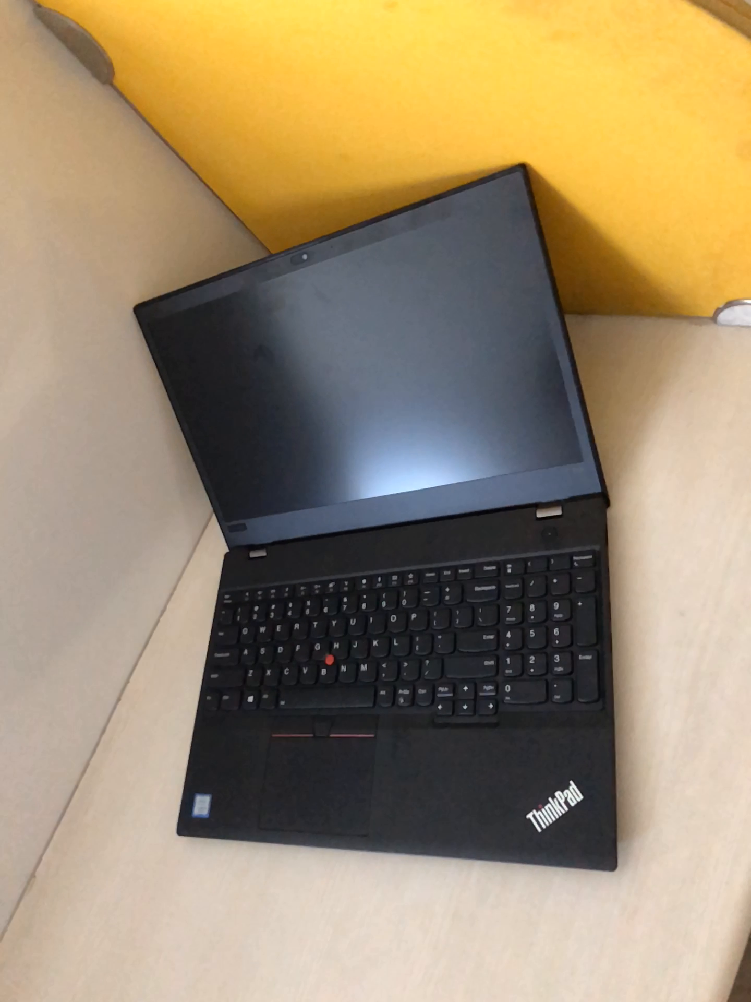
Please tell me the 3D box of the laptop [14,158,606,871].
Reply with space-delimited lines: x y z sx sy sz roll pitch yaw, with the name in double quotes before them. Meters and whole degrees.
"laptop" -0.038 0.020 0.601 0.345 0.150 0.421 -9 63 29
